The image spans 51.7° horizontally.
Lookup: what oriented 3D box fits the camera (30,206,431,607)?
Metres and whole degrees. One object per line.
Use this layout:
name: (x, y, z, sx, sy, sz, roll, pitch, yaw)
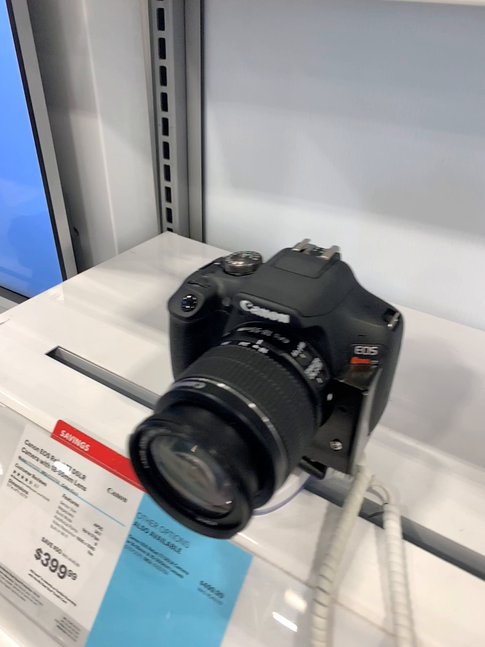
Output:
camera: (0.003, 0.022, 0.255, 0.125, 0.099, 0.141, 20, 38, 26)
